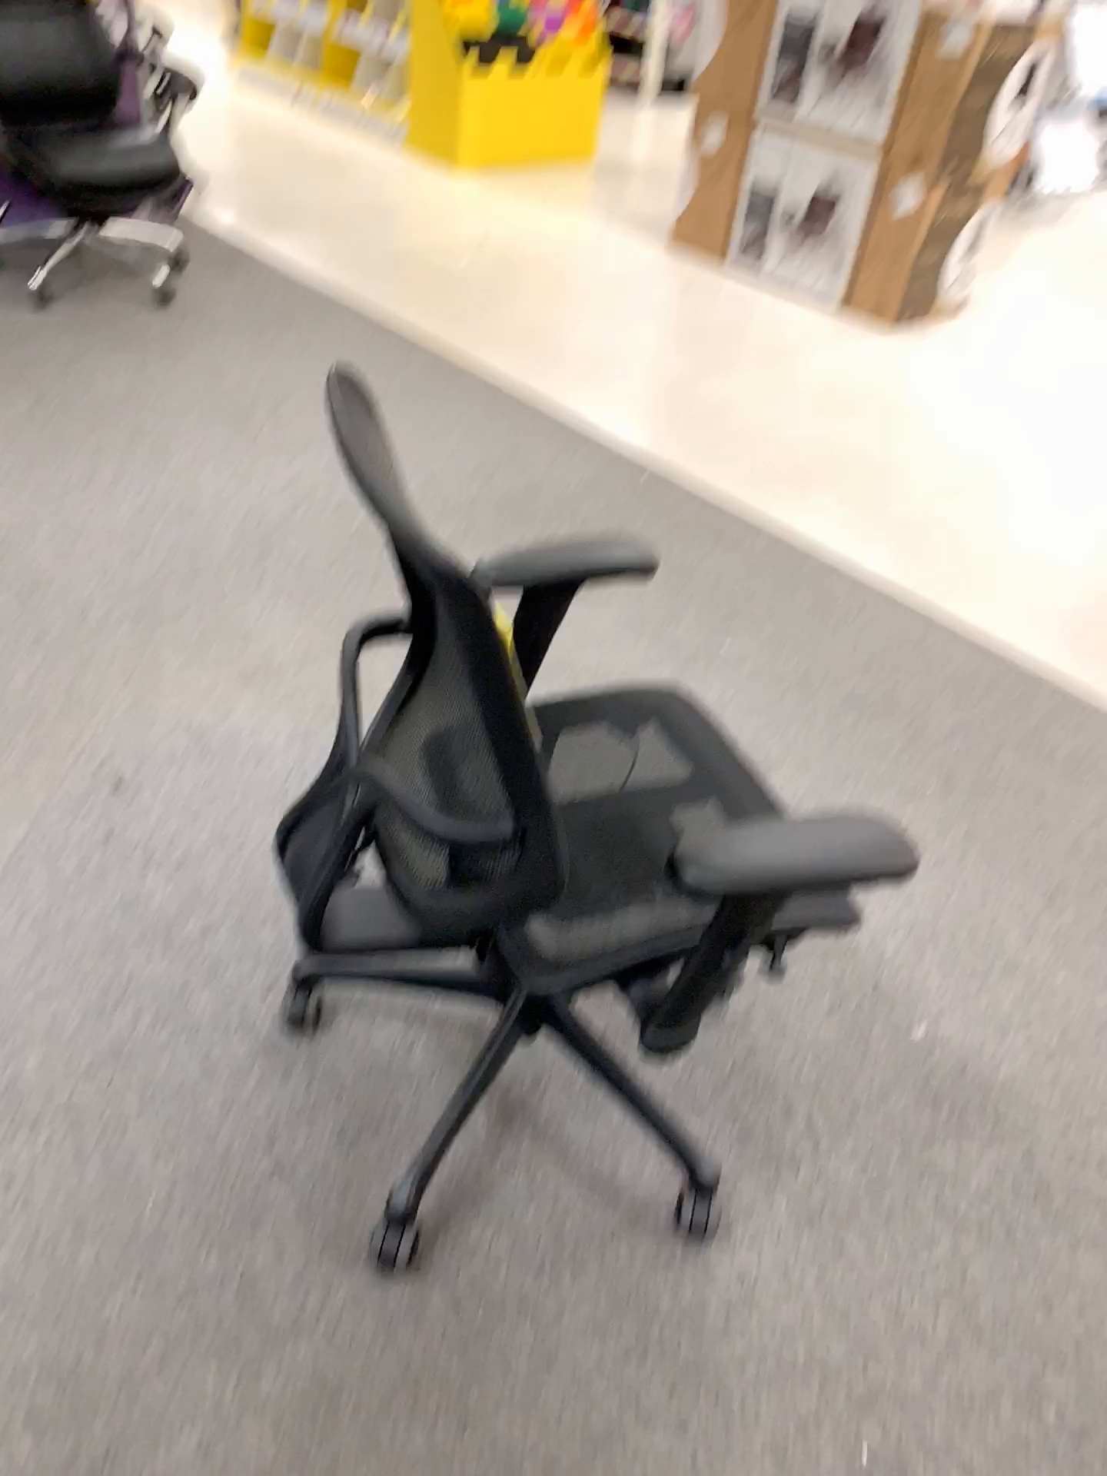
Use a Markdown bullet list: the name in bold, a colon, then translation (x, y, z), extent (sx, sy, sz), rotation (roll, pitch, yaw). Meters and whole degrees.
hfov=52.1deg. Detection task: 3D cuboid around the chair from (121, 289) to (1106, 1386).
- **chair**: translation (0.027, 0.033, 1.315), extent (0.762, 0.806, 0.762), rotation (-14, 43, -26)
